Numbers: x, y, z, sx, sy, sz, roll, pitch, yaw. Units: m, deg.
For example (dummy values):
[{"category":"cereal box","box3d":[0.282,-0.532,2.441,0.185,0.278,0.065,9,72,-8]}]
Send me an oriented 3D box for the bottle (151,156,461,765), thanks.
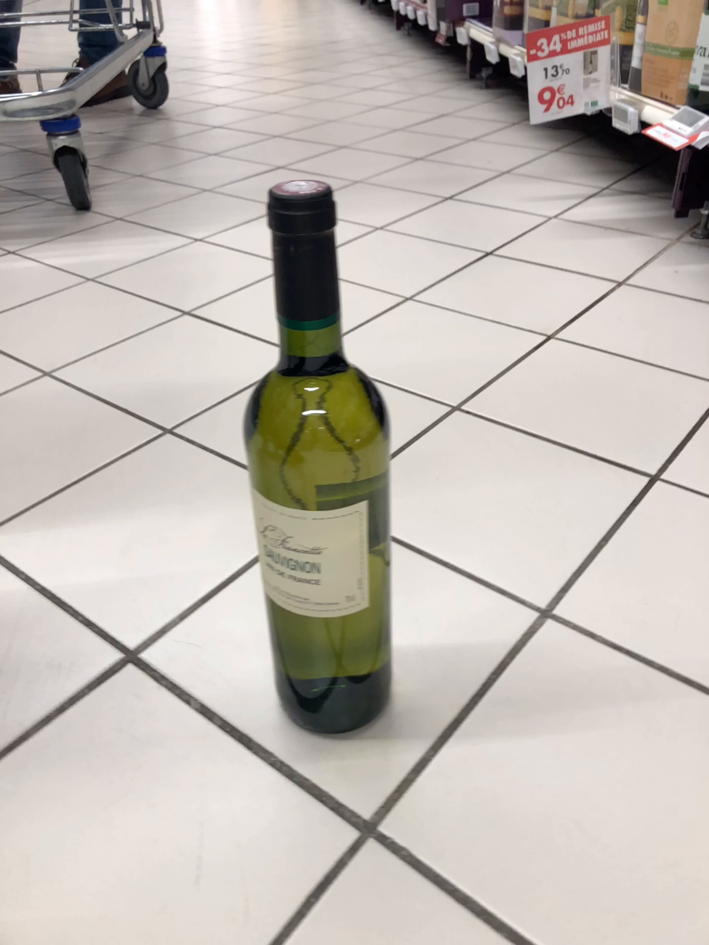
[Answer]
[{"category":"bottle","box3d":[-0.013,0.005,0.396,0.090,0.288,0.091,-1,34,1]}]
